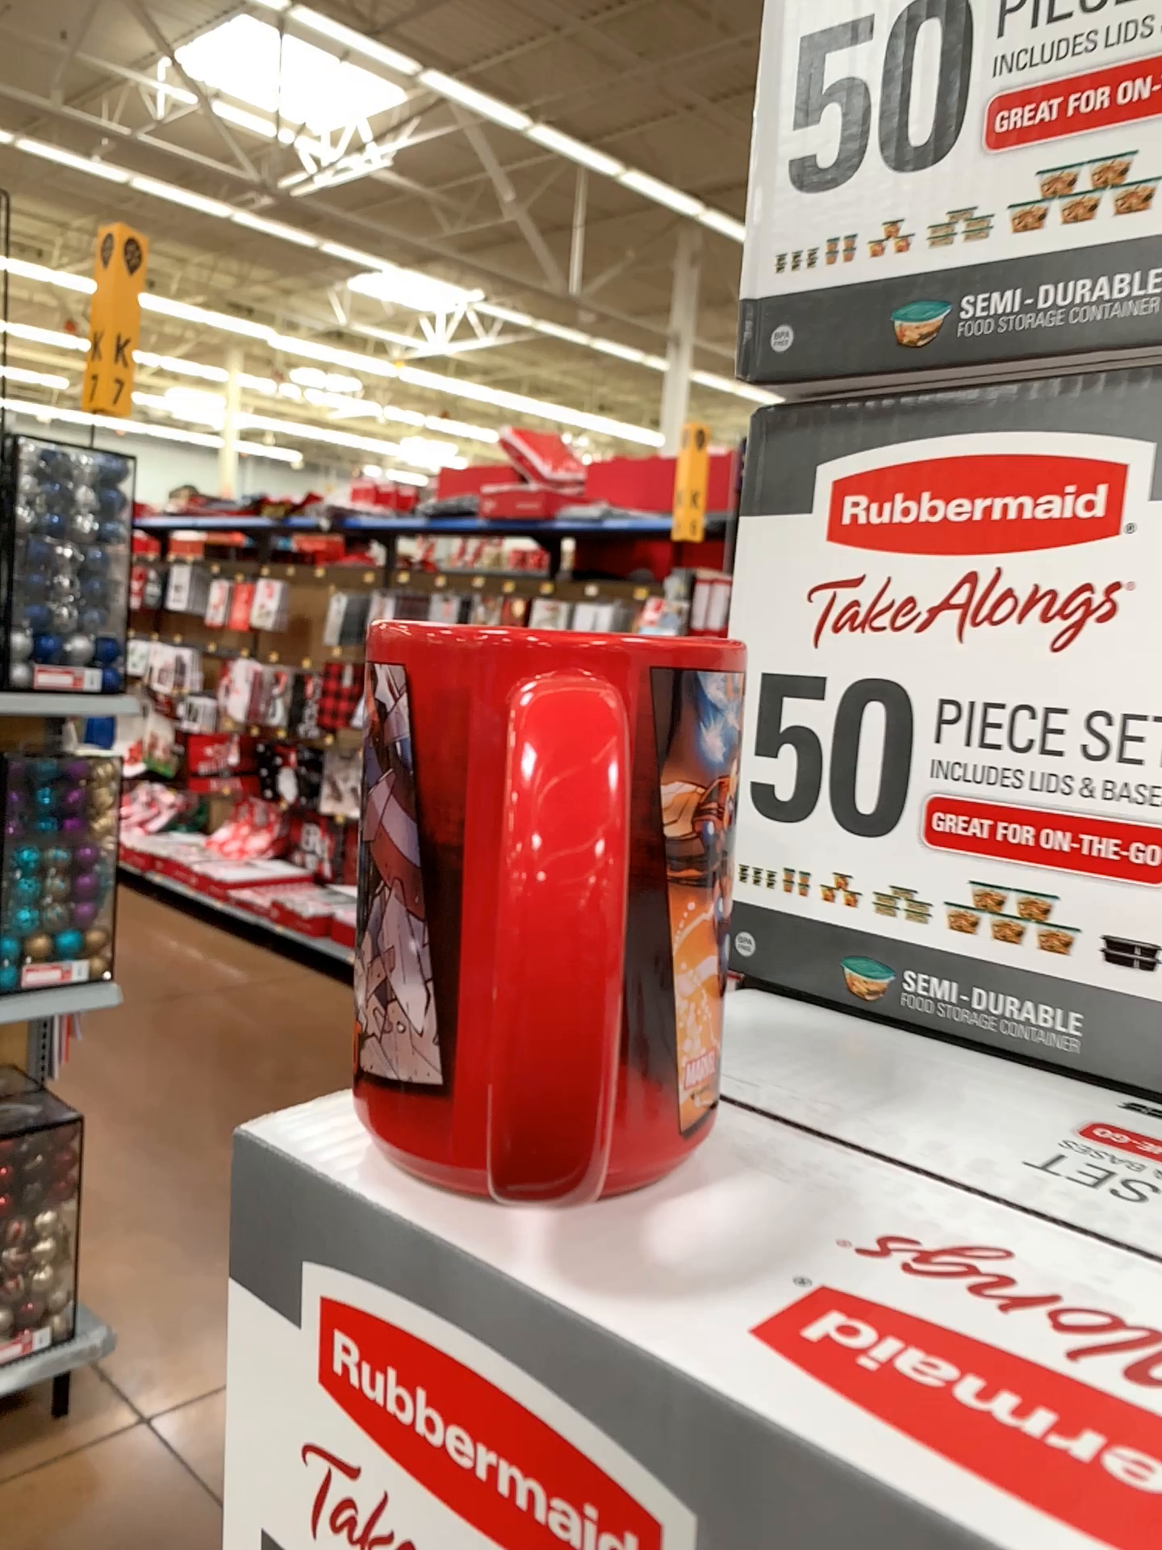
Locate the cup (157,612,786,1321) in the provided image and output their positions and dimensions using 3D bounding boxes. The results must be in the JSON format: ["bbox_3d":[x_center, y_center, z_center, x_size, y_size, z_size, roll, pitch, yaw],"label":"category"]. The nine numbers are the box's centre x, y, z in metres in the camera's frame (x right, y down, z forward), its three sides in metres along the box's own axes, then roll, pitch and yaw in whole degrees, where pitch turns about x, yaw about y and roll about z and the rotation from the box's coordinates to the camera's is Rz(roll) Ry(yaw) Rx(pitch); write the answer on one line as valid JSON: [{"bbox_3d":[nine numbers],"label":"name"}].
[{"bbox_3d":[-0.014,0.025,0.253,0.100,0.114,0.119,0,5,4],"label":"cup"}]
